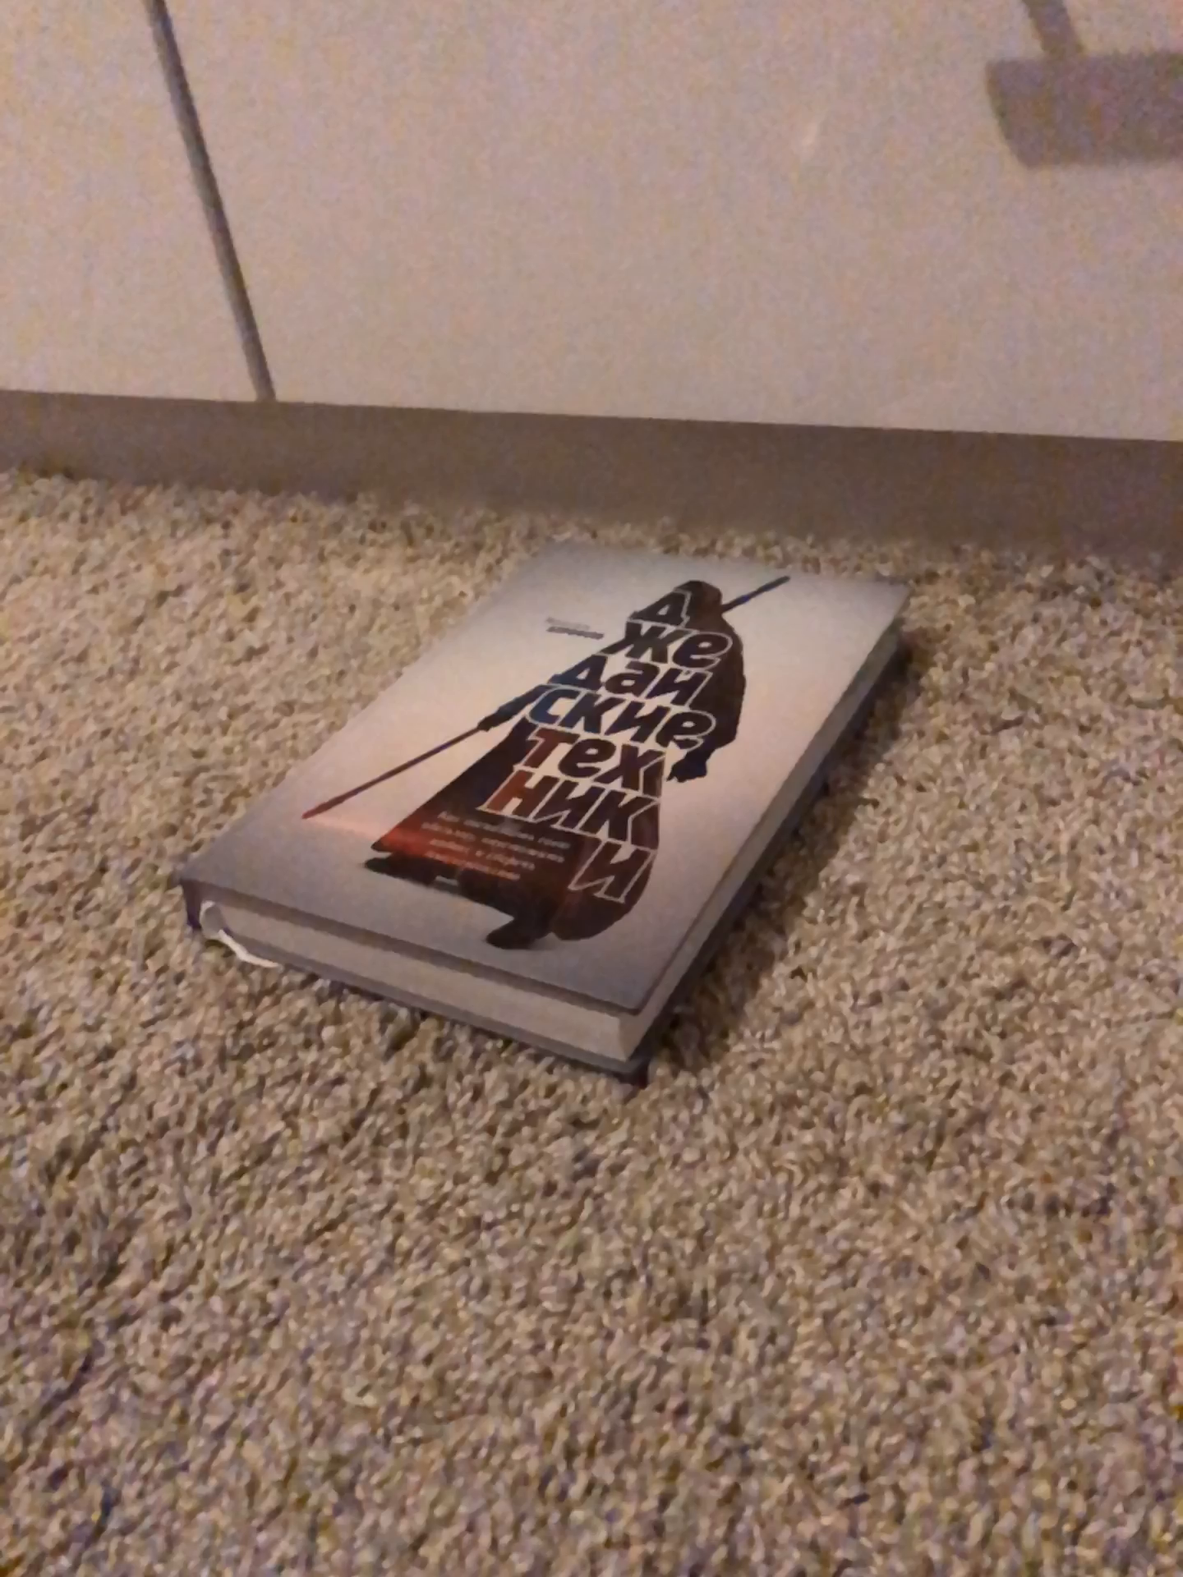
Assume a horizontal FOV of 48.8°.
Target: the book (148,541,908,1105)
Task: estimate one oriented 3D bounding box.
[{"bbox_3d":[-0.006,-0.011,0.417,0.150,0.026,0.222,12,41,26],"label":"book"}]
